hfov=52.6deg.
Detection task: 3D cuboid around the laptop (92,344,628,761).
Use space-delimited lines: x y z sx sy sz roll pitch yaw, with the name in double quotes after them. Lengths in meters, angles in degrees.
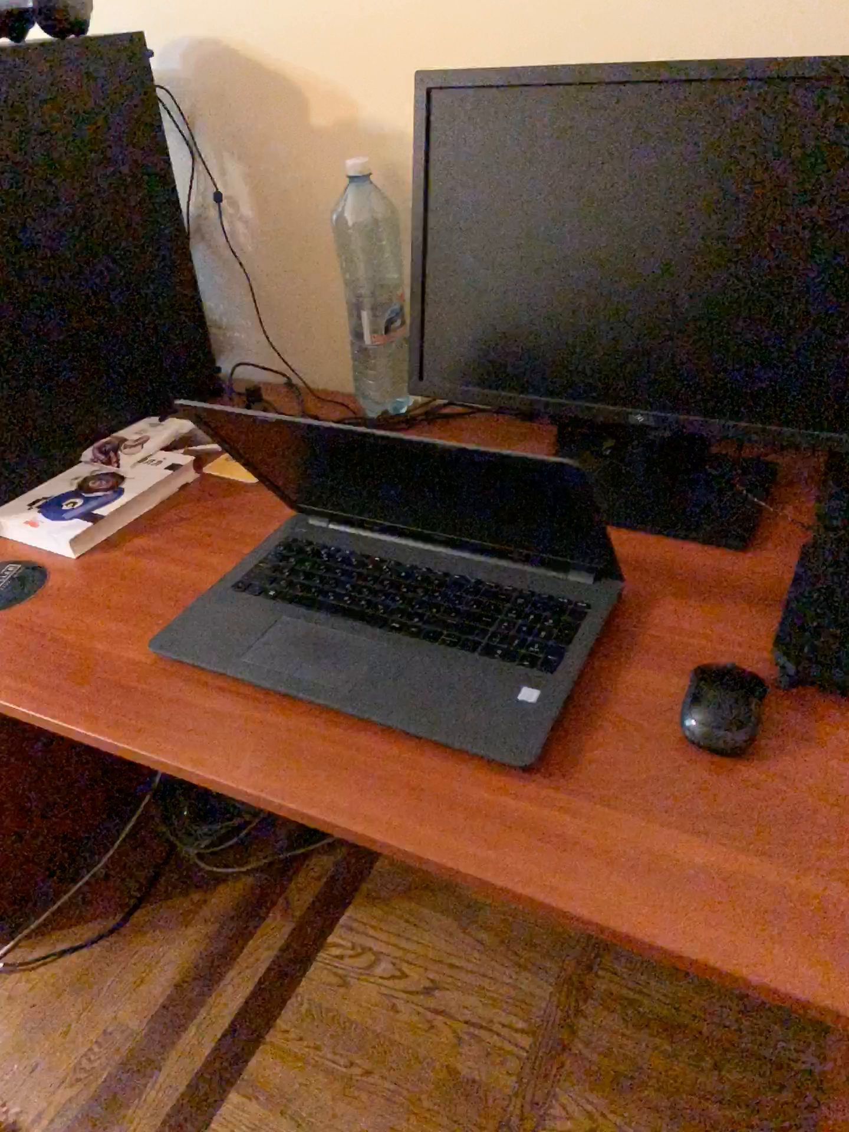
-0.042 -0.038 0.725 0.360 0.191 0.233 12 38 25 "laptop"
